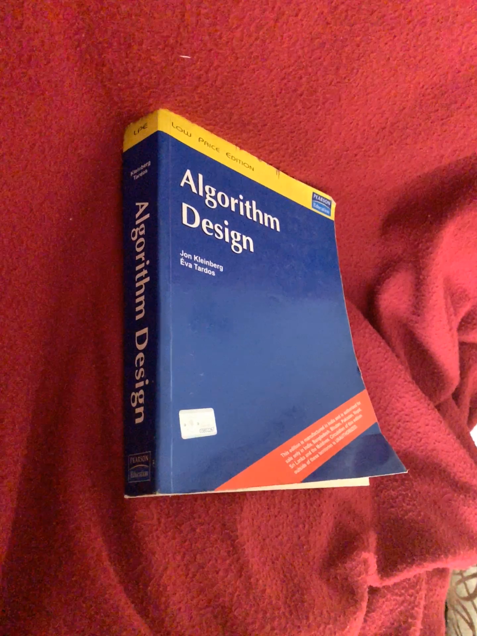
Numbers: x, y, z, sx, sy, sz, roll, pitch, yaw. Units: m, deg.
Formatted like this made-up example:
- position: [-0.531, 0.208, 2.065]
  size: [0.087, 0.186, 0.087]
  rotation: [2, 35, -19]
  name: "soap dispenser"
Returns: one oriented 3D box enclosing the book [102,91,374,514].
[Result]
- position: [0.005, -0.001, 0.359]
  size: [0.191, 0.060, 0.250]
  rotation: [14, 65, -43]
  name: "book"
